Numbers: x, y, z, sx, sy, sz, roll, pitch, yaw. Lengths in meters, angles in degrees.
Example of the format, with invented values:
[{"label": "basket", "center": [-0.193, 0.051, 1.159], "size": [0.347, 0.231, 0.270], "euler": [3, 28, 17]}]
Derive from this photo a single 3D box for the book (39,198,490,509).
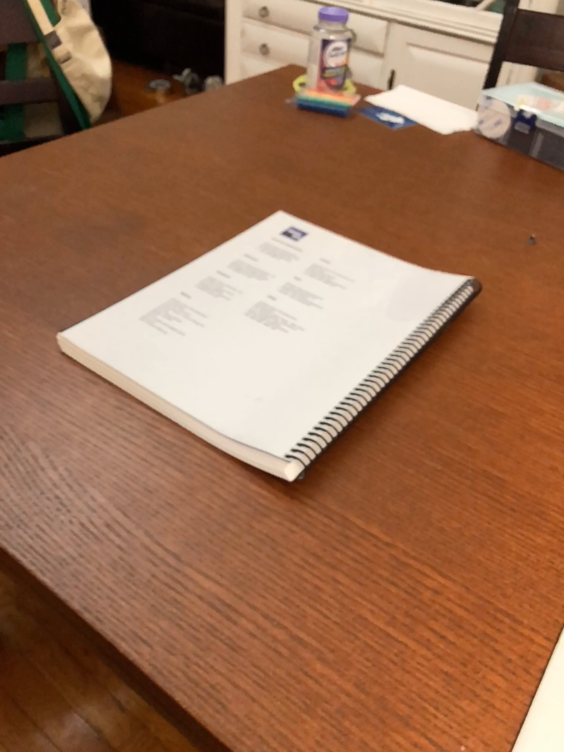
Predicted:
[{"label": "book", "center": [0.002, -0.052, 0.516], "size": [0.230, 0.020, 0.301], "euler": [28, 46, 24]}]
